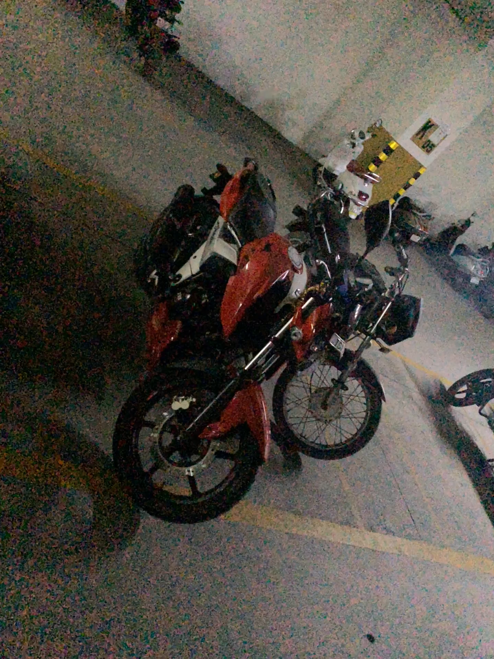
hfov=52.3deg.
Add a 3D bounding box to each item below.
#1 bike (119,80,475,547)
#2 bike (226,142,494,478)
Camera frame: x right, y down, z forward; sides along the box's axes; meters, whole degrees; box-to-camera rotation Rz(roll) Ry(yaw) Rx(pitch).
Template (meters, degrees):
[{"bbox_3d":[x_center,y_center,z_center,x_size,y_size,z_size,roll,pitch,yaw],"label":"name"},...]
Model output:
[{"bbox_3d":[0.061,-0.101,2.383,0.803,1.006,1.697,22,38,-38],"label":"bike"},{"bbox_3d":[0.588,-0.142,2.985,0.675,0.934,1.569,22,37,-38],"label":"bike"}]
